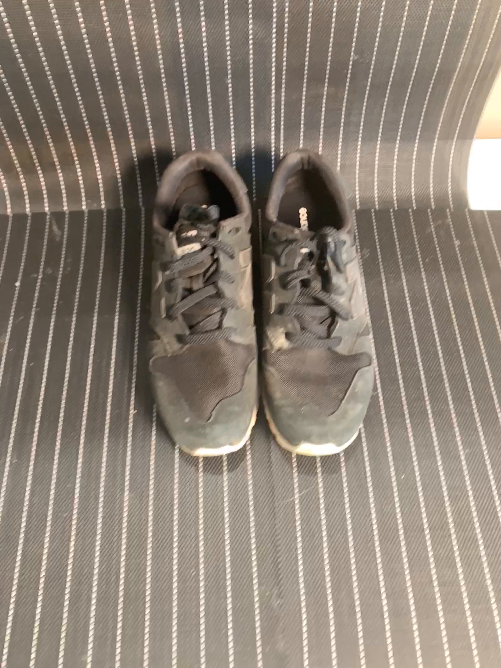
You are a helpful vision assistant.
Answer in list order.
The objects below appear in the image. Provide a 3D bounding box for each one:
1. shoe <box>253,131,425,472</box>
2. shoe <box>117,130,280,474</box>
[{"bbox_3d":[0.061,-0.040,0.462,0.110,0.090,0.301,-1,62,-1],"label":"shoe"},{"bbox_3d":[-0.042,-0.039,0.461,0.110,0.090,0.301,-2,62,-1],"label":"shoe"}]
